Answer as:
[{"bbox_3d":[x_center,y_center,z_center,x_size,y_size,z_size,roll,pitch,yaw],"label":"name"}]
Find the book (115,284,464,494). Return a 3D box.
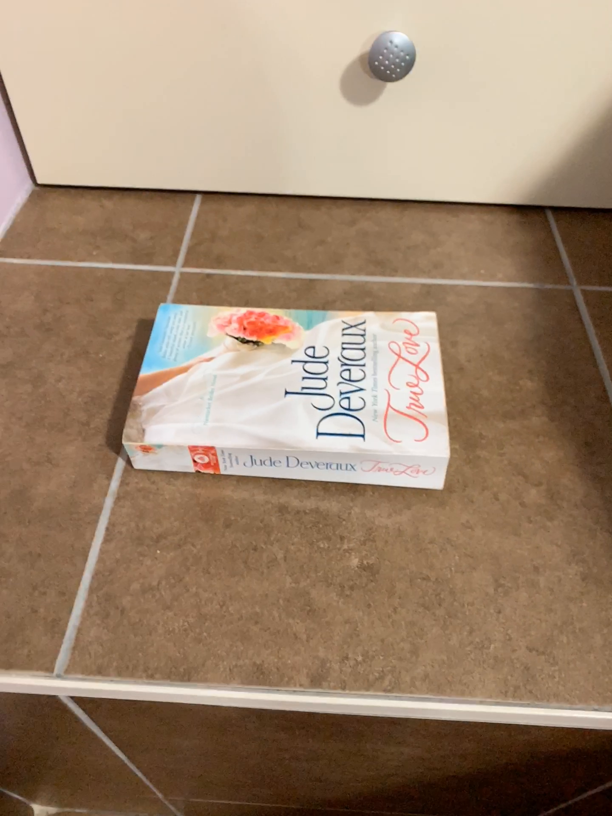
[{"bbox_3d":[-0.005,-0.015,0.374,0.179,0.047,0.107,4,50,2],"label":"book"}]
